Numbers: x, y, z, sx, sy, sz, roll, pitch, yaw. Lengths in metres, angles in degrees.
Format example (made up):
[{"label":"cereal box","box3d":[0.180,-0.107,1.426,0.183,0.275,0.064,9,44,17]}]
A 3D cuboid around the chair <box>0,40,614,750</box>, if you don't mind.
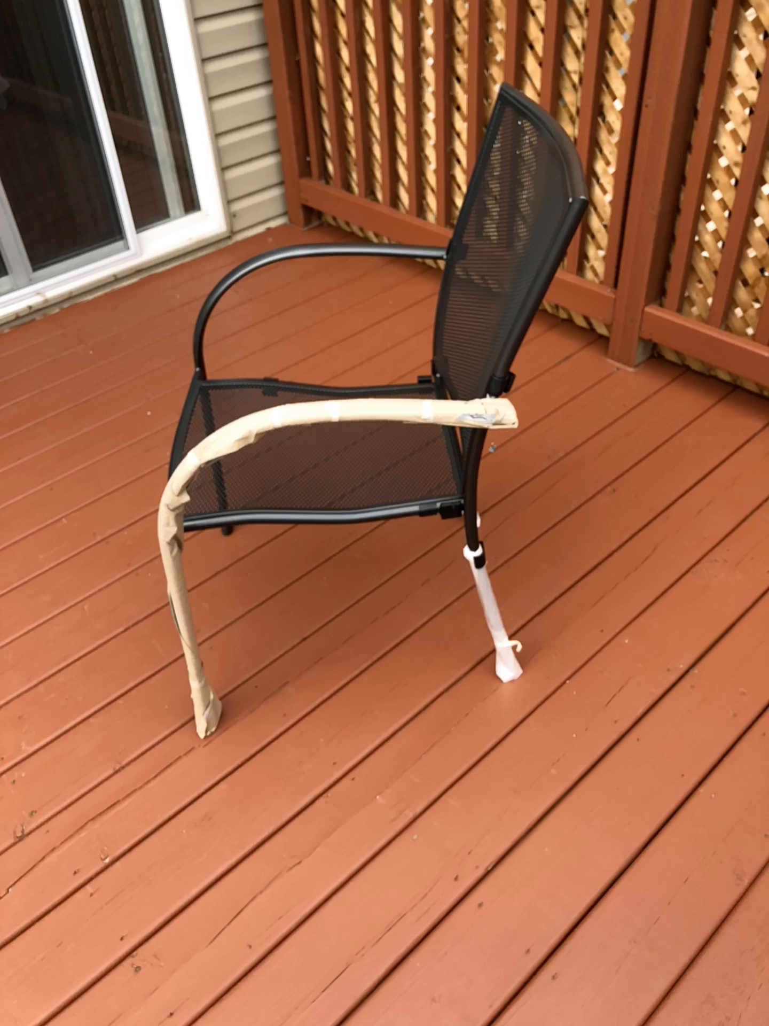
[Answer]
[{"label":"chair","box3d":[-0.078,-0.166,1.403,0.650,0.926,0.602,-5,40,0]}]
